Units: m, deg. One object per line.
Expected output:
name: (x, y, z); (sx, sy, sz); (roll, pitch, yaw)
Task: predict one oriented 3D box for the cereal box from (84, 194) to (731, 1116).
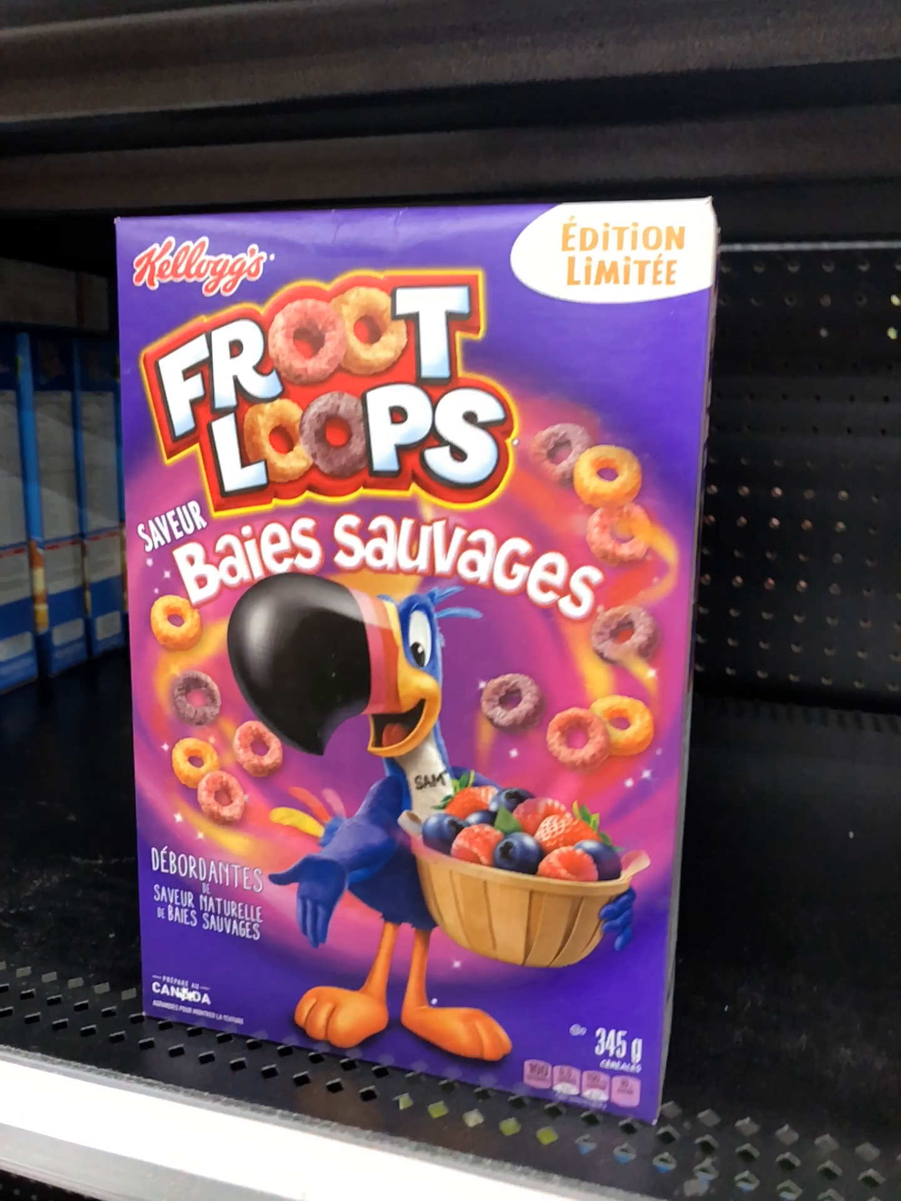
cereal box: (-0.019, 0.016, 0.358); (0.210, 0.289, 0.050); (4, 11, 17)
